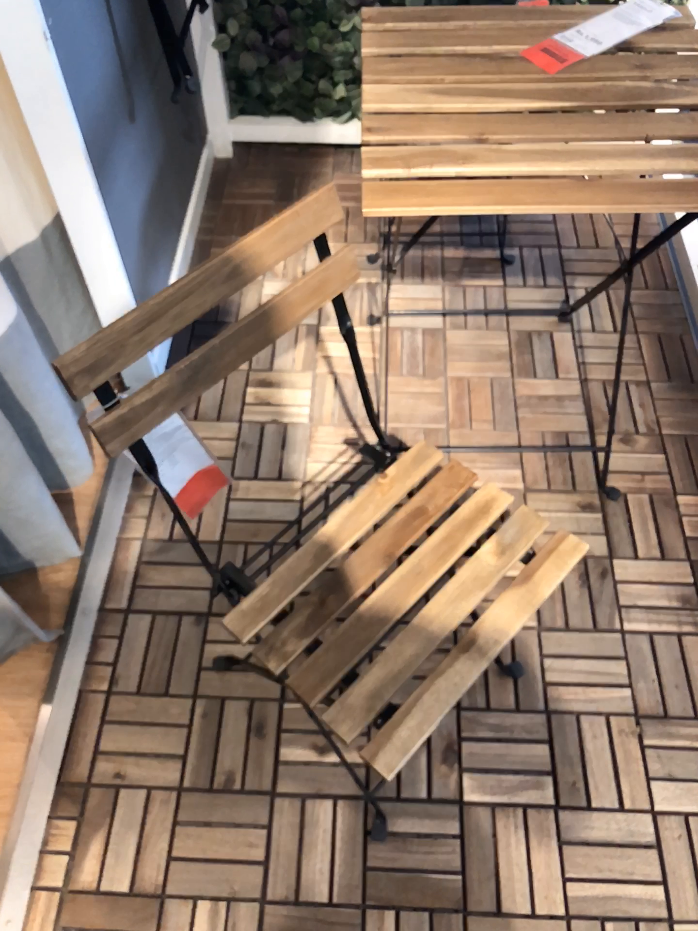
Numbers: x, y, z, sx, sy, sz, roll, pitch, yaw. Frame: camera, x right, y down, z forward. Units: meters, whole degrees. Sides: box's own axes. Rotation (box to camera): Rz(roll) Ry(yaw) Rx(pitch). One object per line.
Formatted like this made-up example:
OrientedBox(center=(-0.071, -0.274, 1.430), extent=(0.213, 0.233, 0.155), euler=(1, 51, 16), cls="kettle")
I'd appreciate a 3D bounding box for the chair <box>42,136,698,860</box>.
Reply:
OrientedBox(center=(0.043, 0.097, 0.968), extent=(0.431, 0.726, 0.431), euler=(37, 63, 24), cls="chair")
